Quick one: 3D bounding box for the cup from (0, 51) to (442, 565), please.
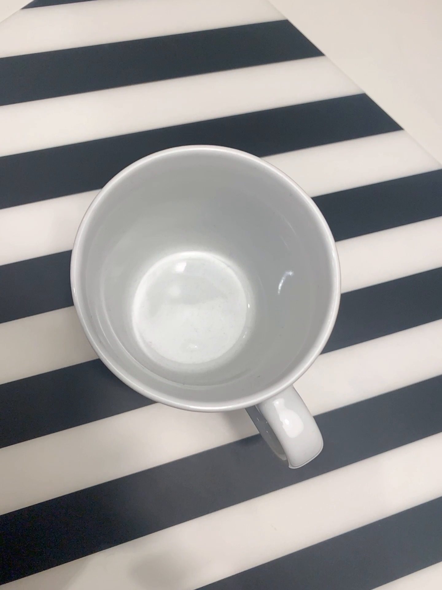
[{"bbox_3d":[-0.002,0.003,0.149,0.070,0.070,0.110,-29,84,-13],"label":"cup"}]
